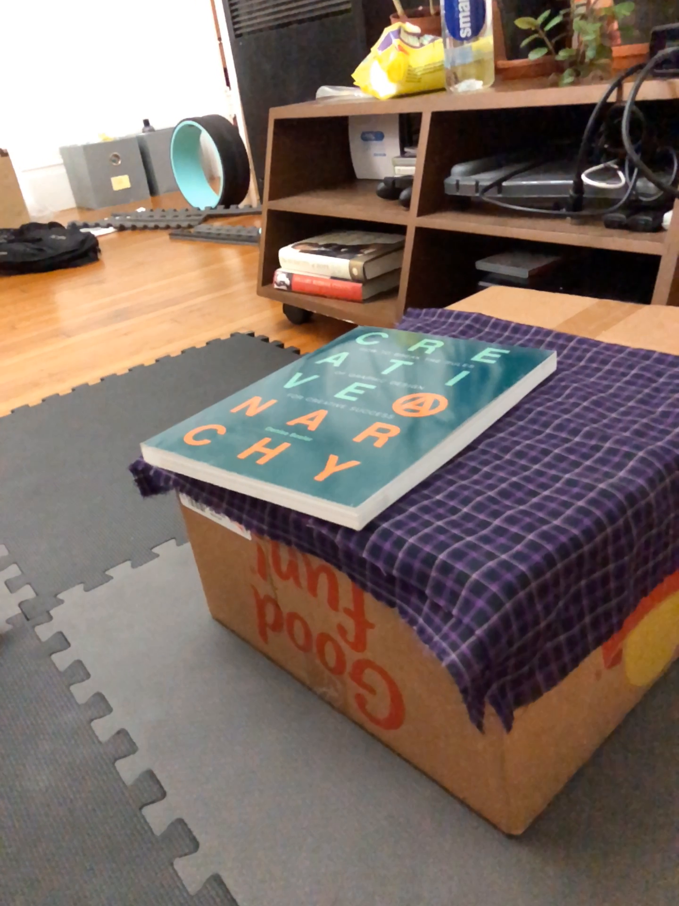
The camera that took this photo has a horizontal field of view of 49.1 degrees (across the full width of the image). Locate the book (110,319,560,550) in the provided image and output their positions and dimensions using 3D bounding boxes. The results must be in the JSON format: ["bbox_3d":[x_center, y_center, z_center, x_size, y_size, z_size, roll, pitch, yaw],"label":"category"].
[{"bbox_3d":[0.008,-0.040,0.593,0.220,0.020,0.301,14,35,37],"label":"book"}]
